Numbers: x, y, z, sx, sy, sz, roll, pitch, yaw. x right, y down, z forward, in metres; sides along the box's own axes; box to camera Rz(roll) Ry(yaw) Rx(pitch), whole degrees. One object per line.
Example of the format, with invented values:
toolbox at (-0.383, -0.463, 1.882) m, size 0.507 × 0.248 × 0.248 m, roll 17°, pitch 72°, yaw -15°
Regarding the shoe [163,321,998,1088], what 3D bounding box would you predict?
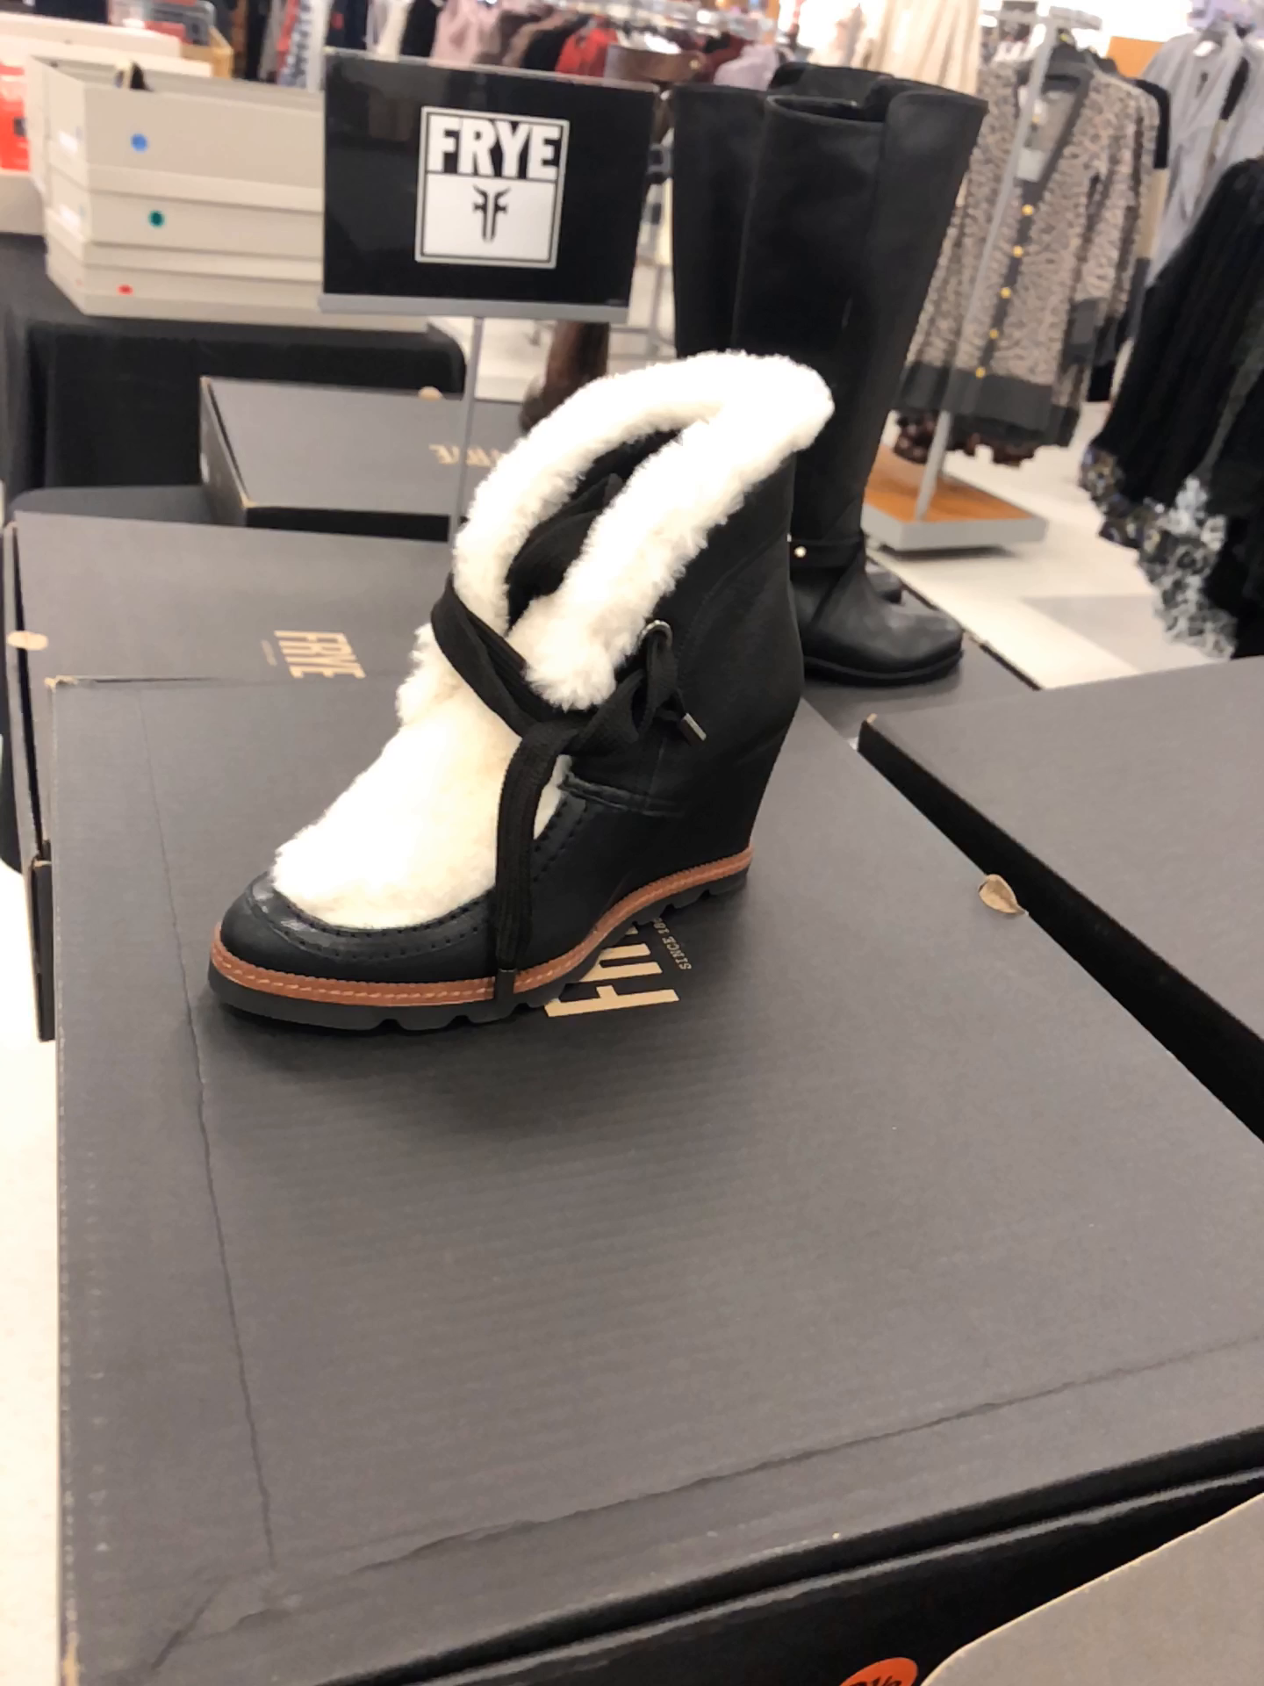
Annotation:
shoe at (-0.023, -0.056, 0.487) m, size 0.247 × 0.207 × 0.101 m, roll -10°, pitch 34°, yaw -32°
